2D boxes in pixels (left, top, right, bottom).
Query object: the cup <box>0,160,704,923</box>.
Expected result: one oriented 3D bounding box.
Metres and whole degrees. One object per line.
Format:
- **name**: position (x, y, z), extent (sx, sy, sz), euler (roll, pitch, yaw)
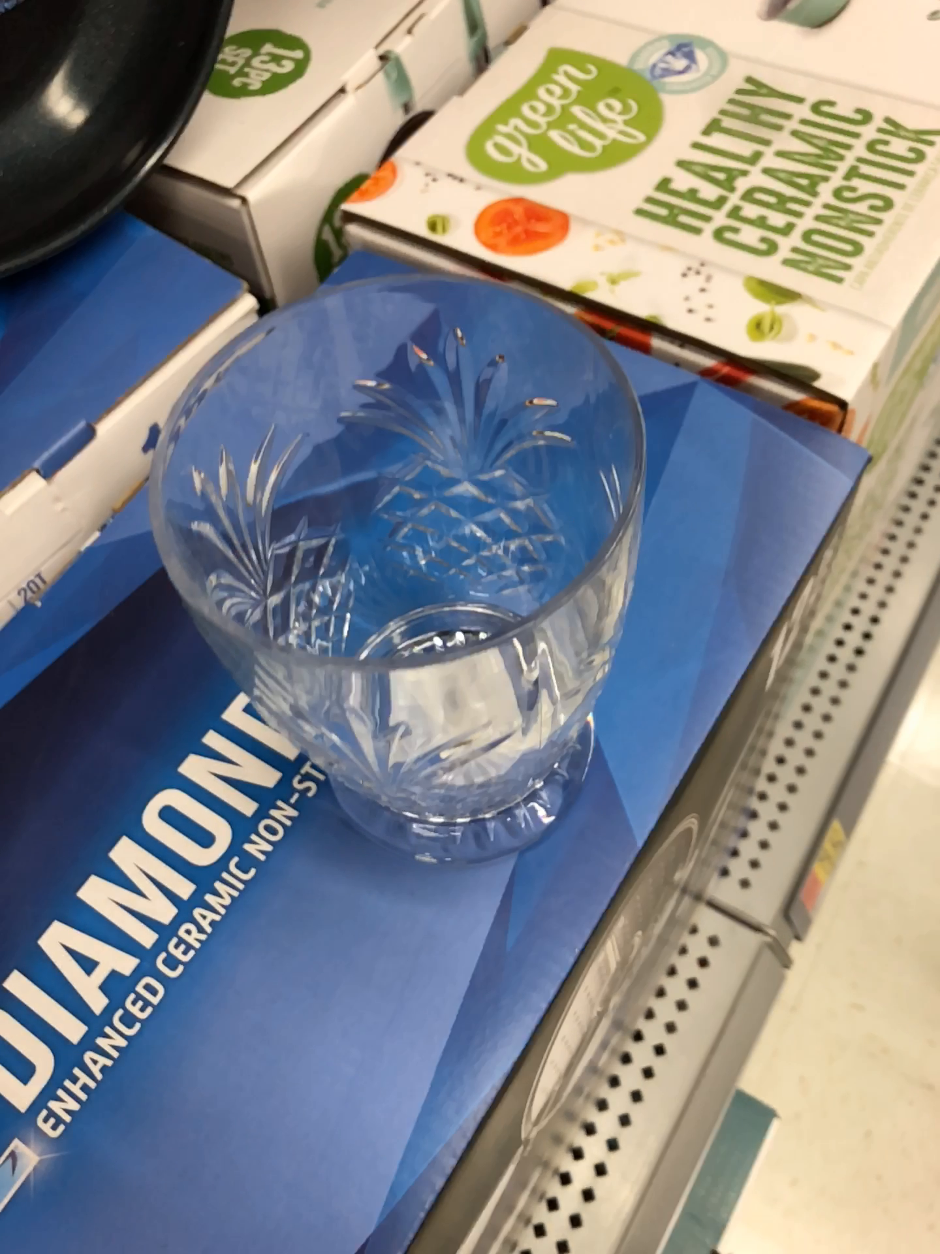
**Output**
- **cup**: position (-0.015, -0.012, 0.226), extent (0.088, 0.113, 0.092), euler (-2, 60, 4)
